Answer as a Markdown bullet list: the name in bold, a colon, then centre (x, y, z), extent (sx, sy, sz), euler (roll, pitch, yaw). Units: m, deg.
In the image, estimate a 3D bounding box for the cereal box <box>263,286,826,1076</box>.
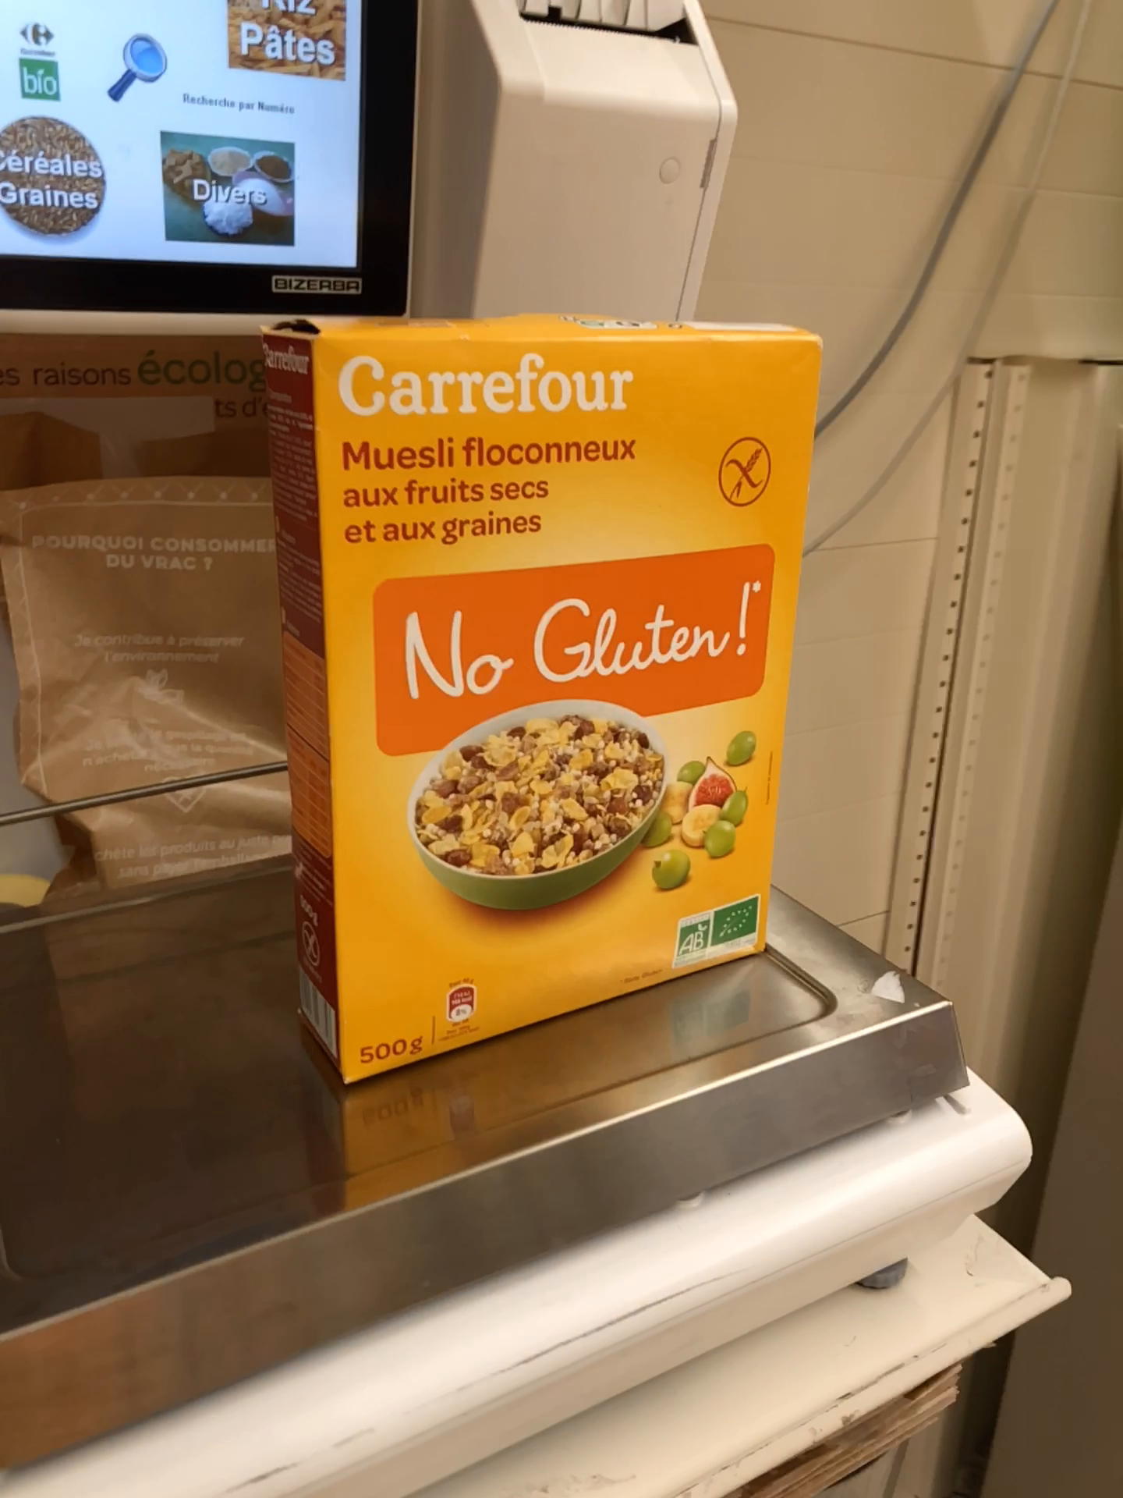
- **cereal box**: centre (-0.004, -0.030, 0.458), extent (0.191, 0.259, 0.050), euler (-10, 23, -30)
